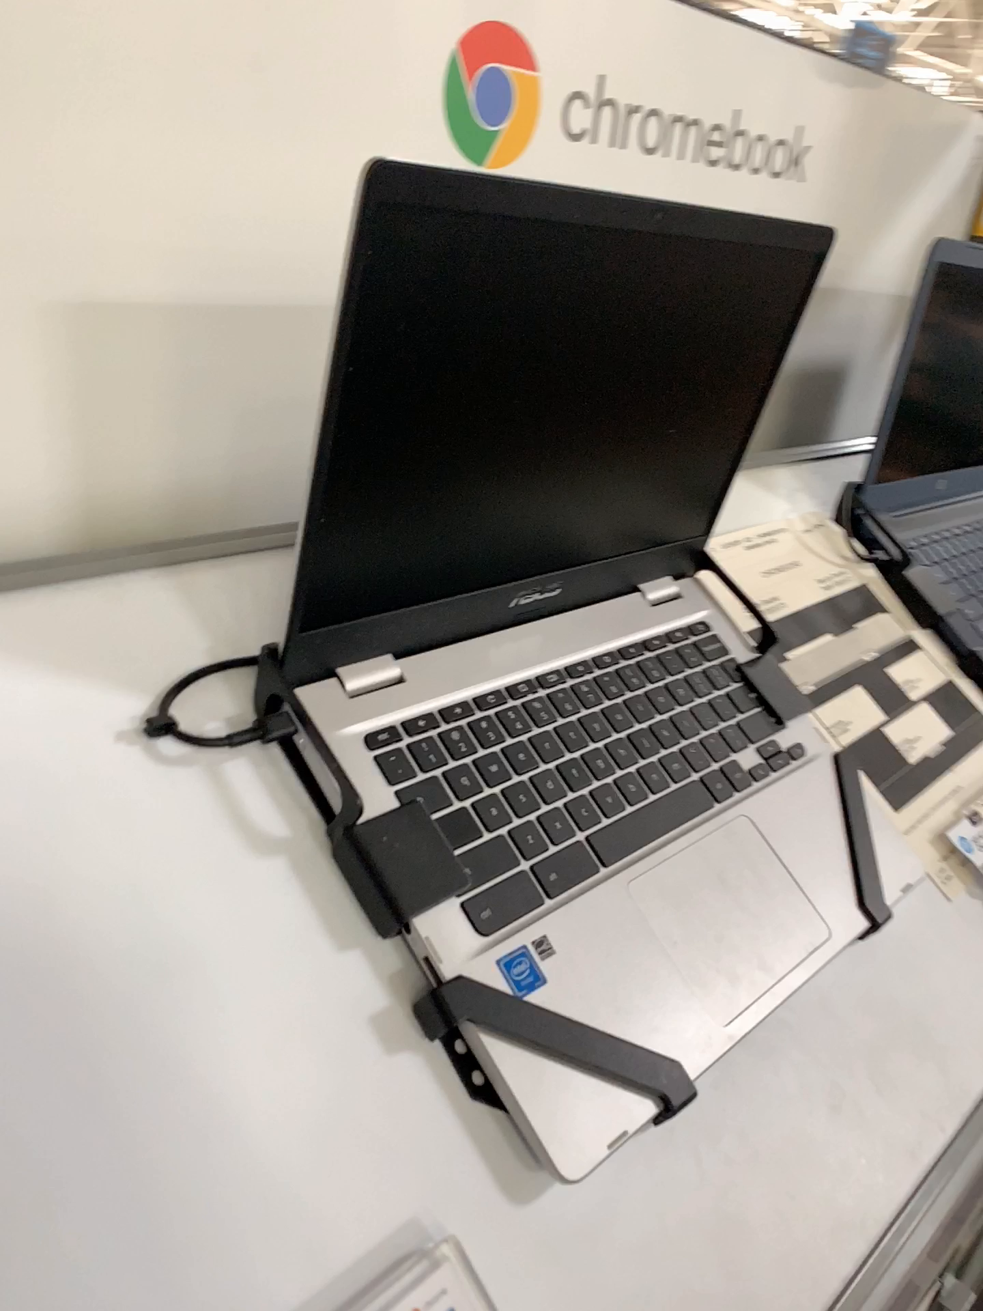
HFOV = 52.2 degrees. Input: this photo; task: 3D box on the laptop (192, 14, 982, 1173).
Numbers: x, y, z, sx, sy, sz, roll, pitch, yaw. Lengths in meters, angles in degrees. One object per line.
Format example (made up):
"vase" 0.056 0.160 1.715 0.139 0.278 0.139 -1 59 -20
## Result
"laptop" 0.067 -0.055 0.469 0.309 0.196 0.292 -17 55 -43
